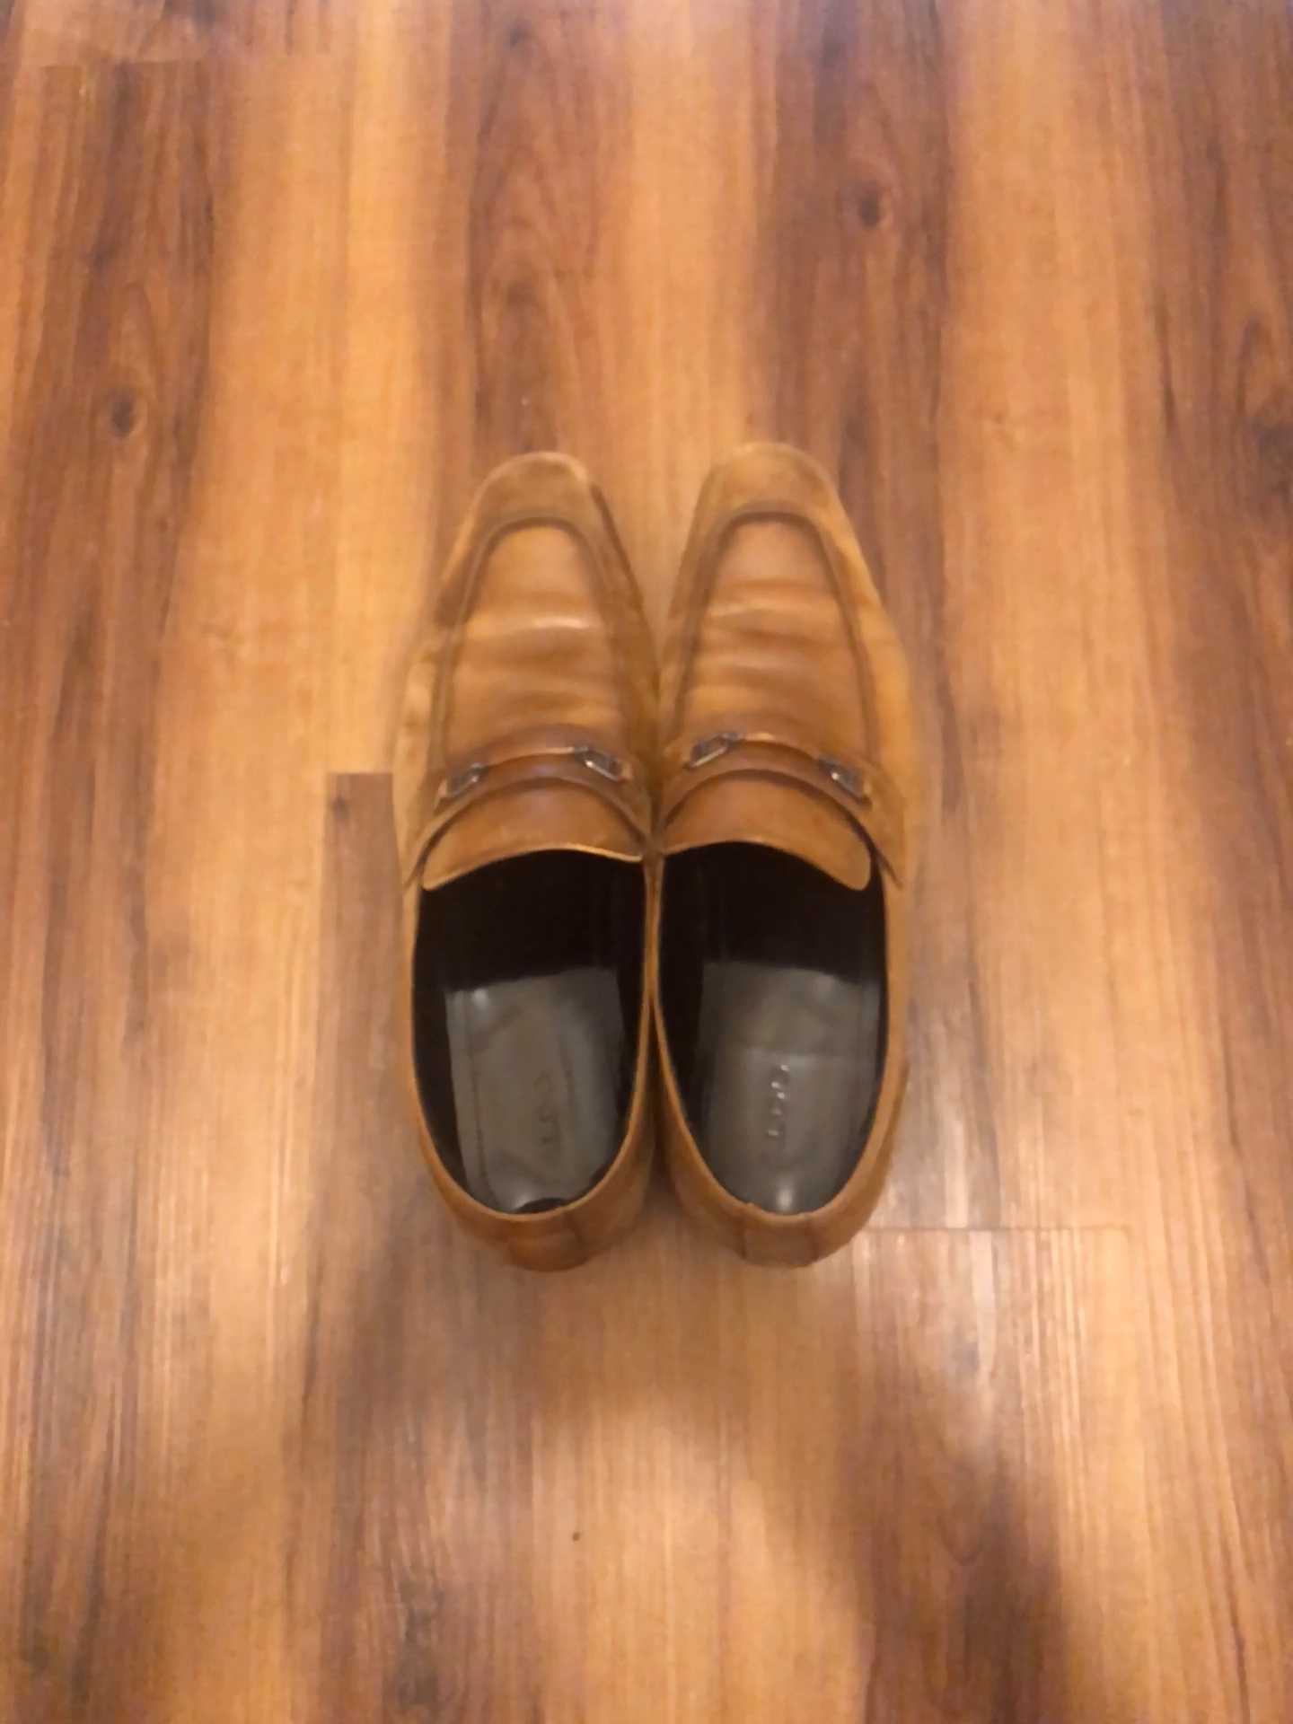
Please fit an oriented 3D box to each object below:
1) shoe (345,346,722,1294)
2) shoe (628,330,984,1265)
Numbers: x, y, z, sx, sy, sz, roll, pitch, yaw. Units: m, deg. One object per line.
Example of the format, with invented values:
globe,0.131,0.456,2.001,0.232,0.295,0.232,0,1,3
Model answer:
shoe,-0.038,-0.012,0.521,0.106,0.112,0.308,-4,78,2
shoe,0.052,-0.019,0.517,0.106,0.112,0.308,0,78,3
